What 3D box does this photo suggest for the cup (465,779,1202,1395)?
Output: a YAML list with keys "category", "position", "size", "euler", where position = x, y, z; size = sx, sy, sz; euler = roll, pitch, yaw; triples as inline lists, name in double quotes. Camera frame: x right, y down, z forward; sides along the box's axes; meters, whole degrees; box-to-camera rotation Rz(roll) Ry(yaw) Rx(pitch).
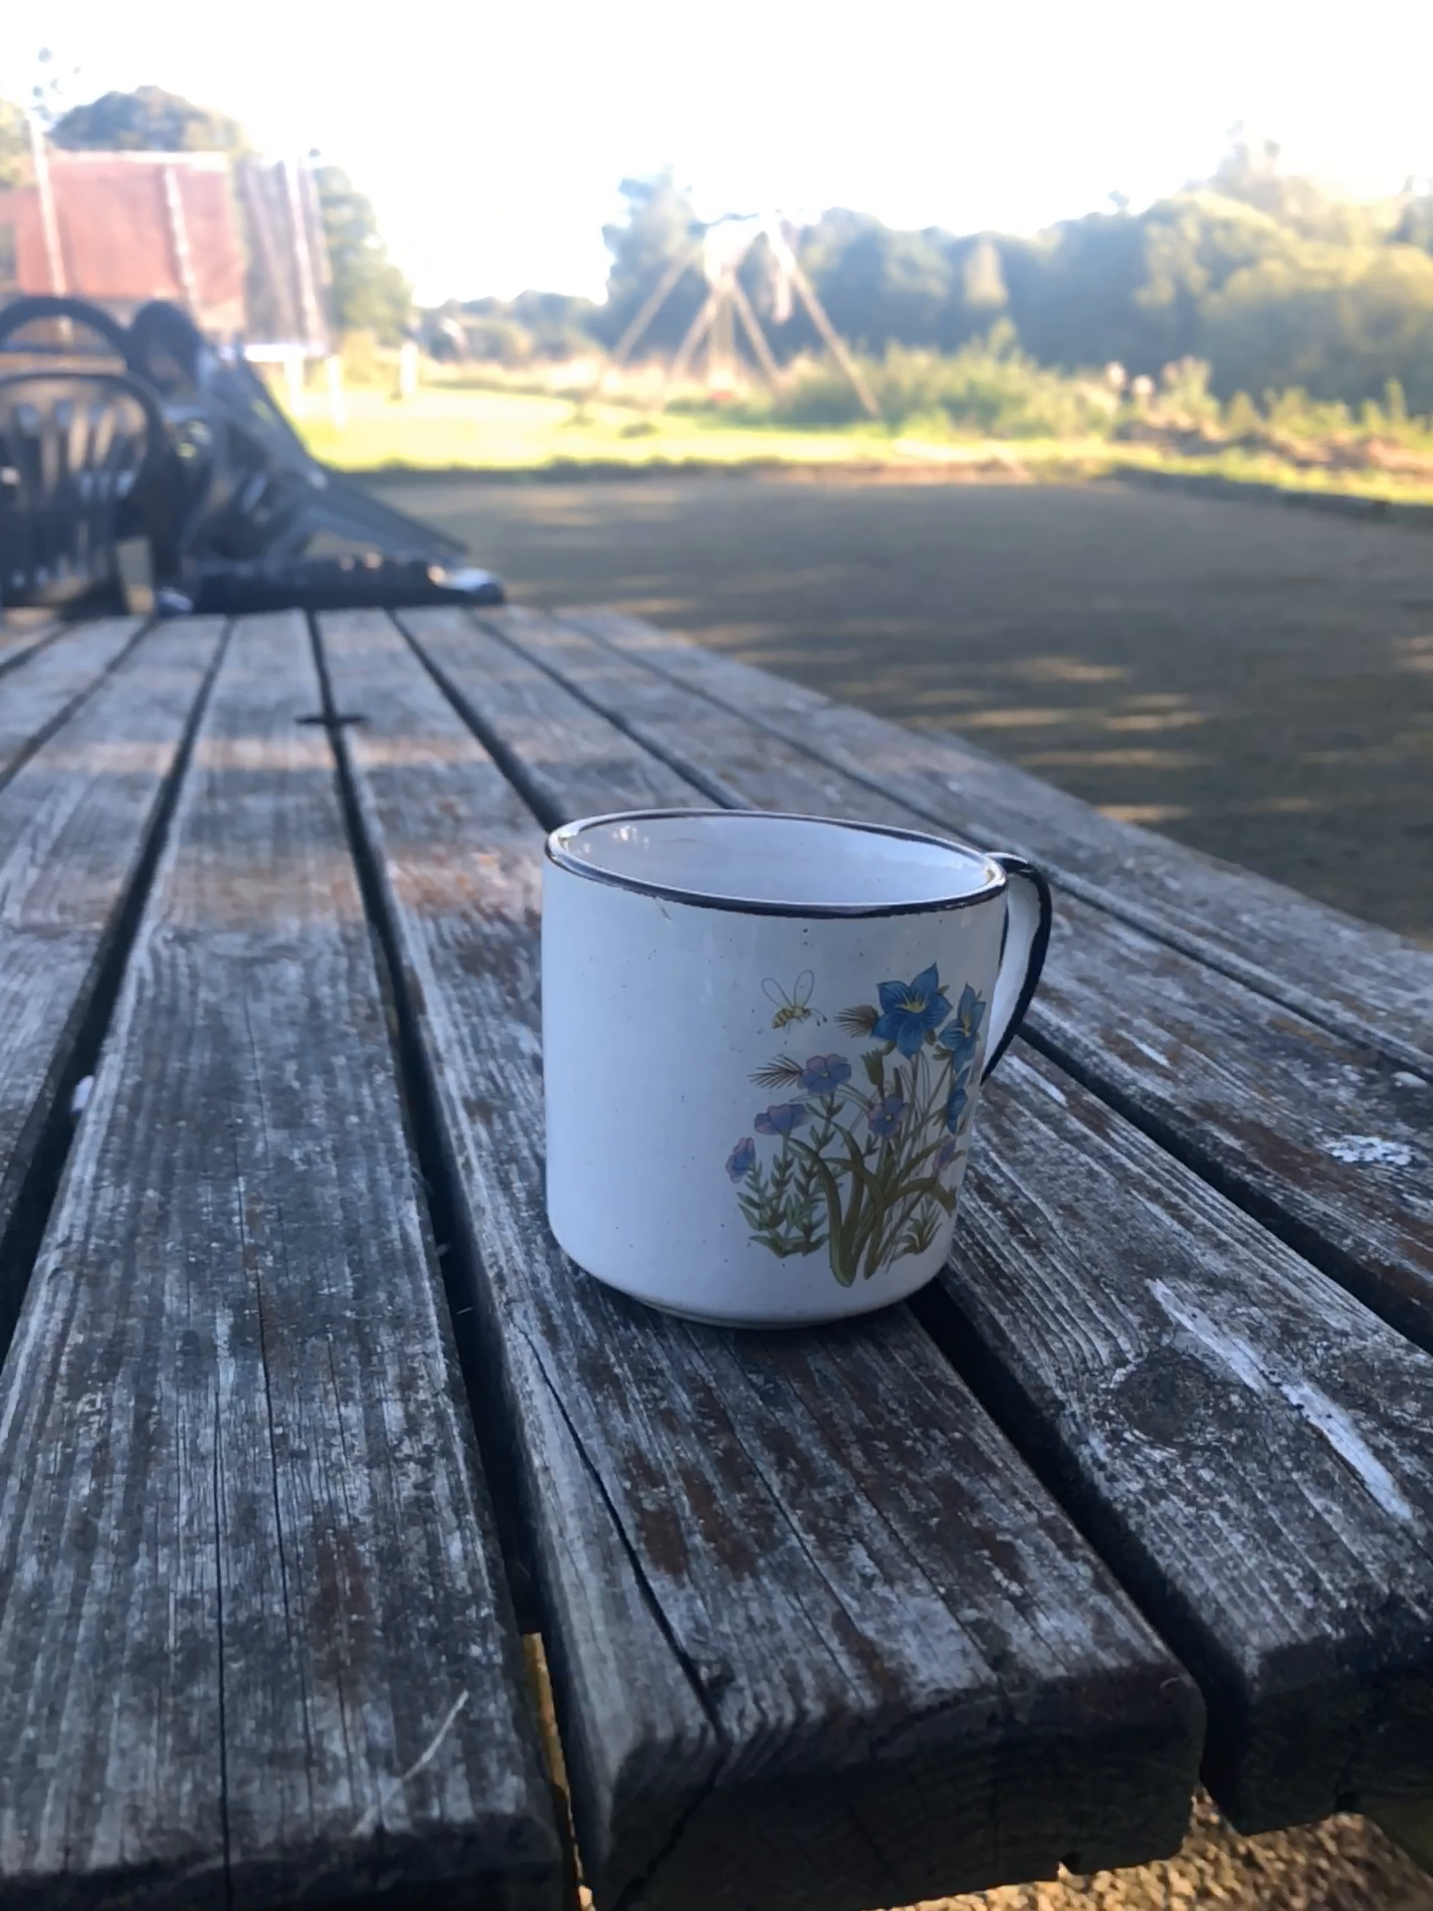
- category: "cup"
  position: [0.021, 0.015, 0.308]
  size: [0.109, 0.078, 0.086]
  euler: [-10, 19, -35]
